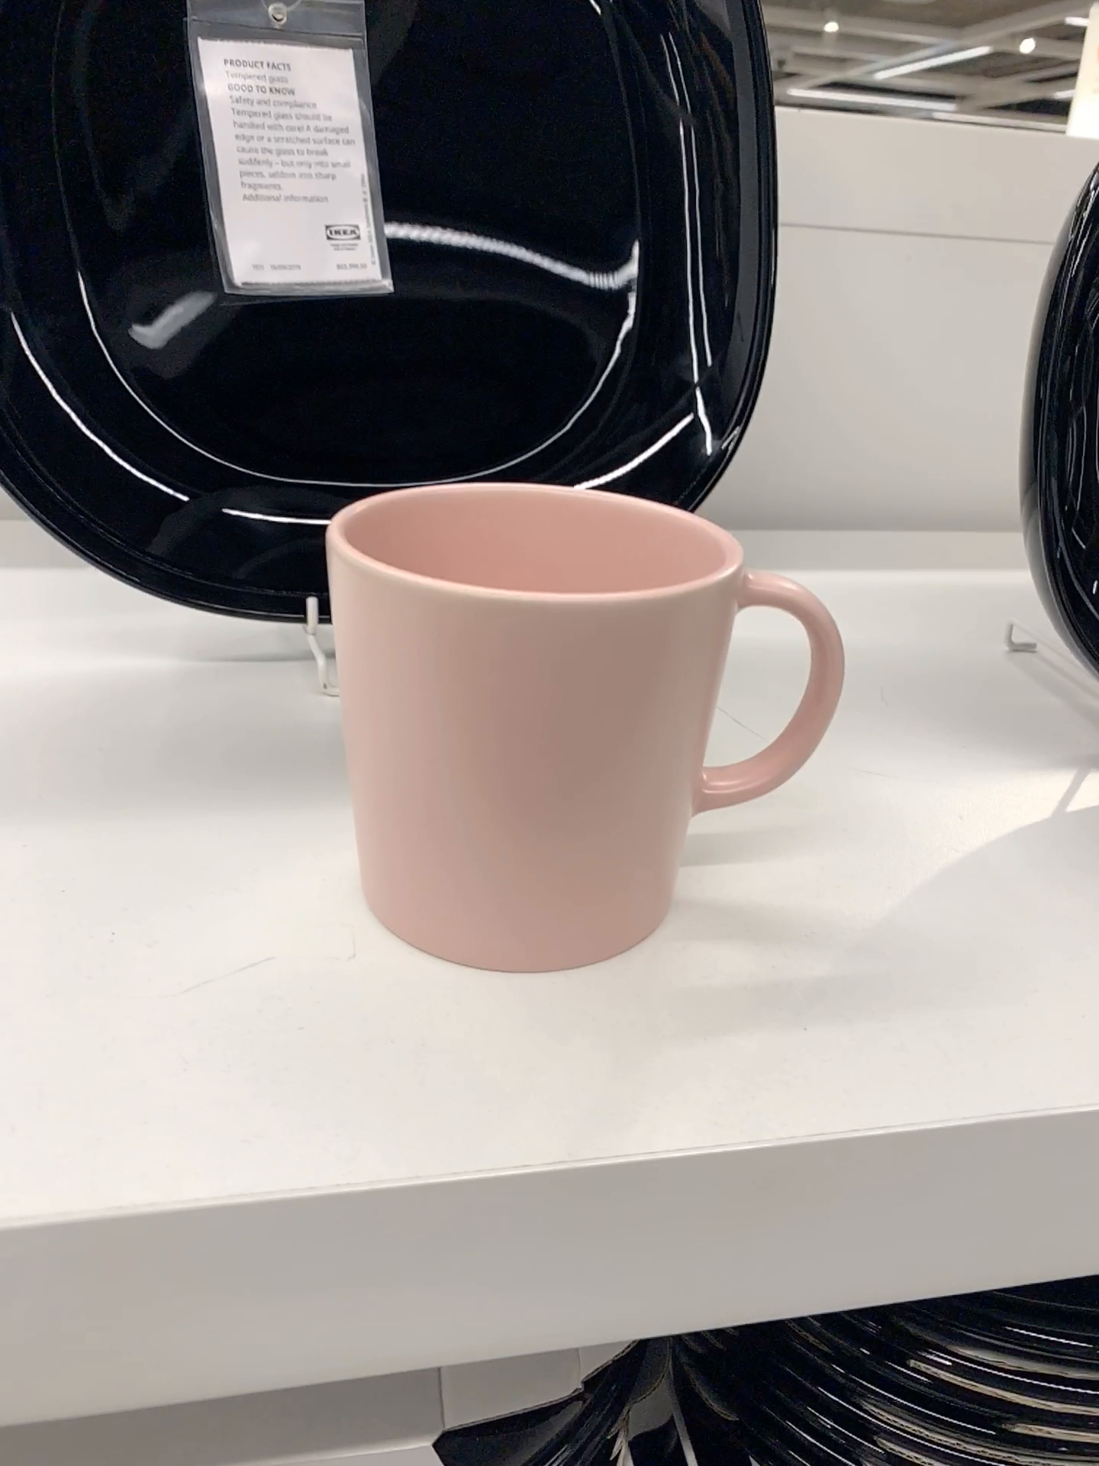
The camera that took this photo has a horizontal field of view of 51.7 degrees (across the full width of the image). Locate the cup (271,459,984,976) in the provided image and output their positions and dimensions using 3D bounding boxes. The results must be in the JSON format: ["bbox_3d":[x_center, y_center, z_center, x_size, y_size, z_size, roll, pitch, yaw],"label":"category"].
[{"bbox_3d":[0.009,-0.008,0.245,0.120,0.080,0.090,1,24,-6],"label":"cup"}]
